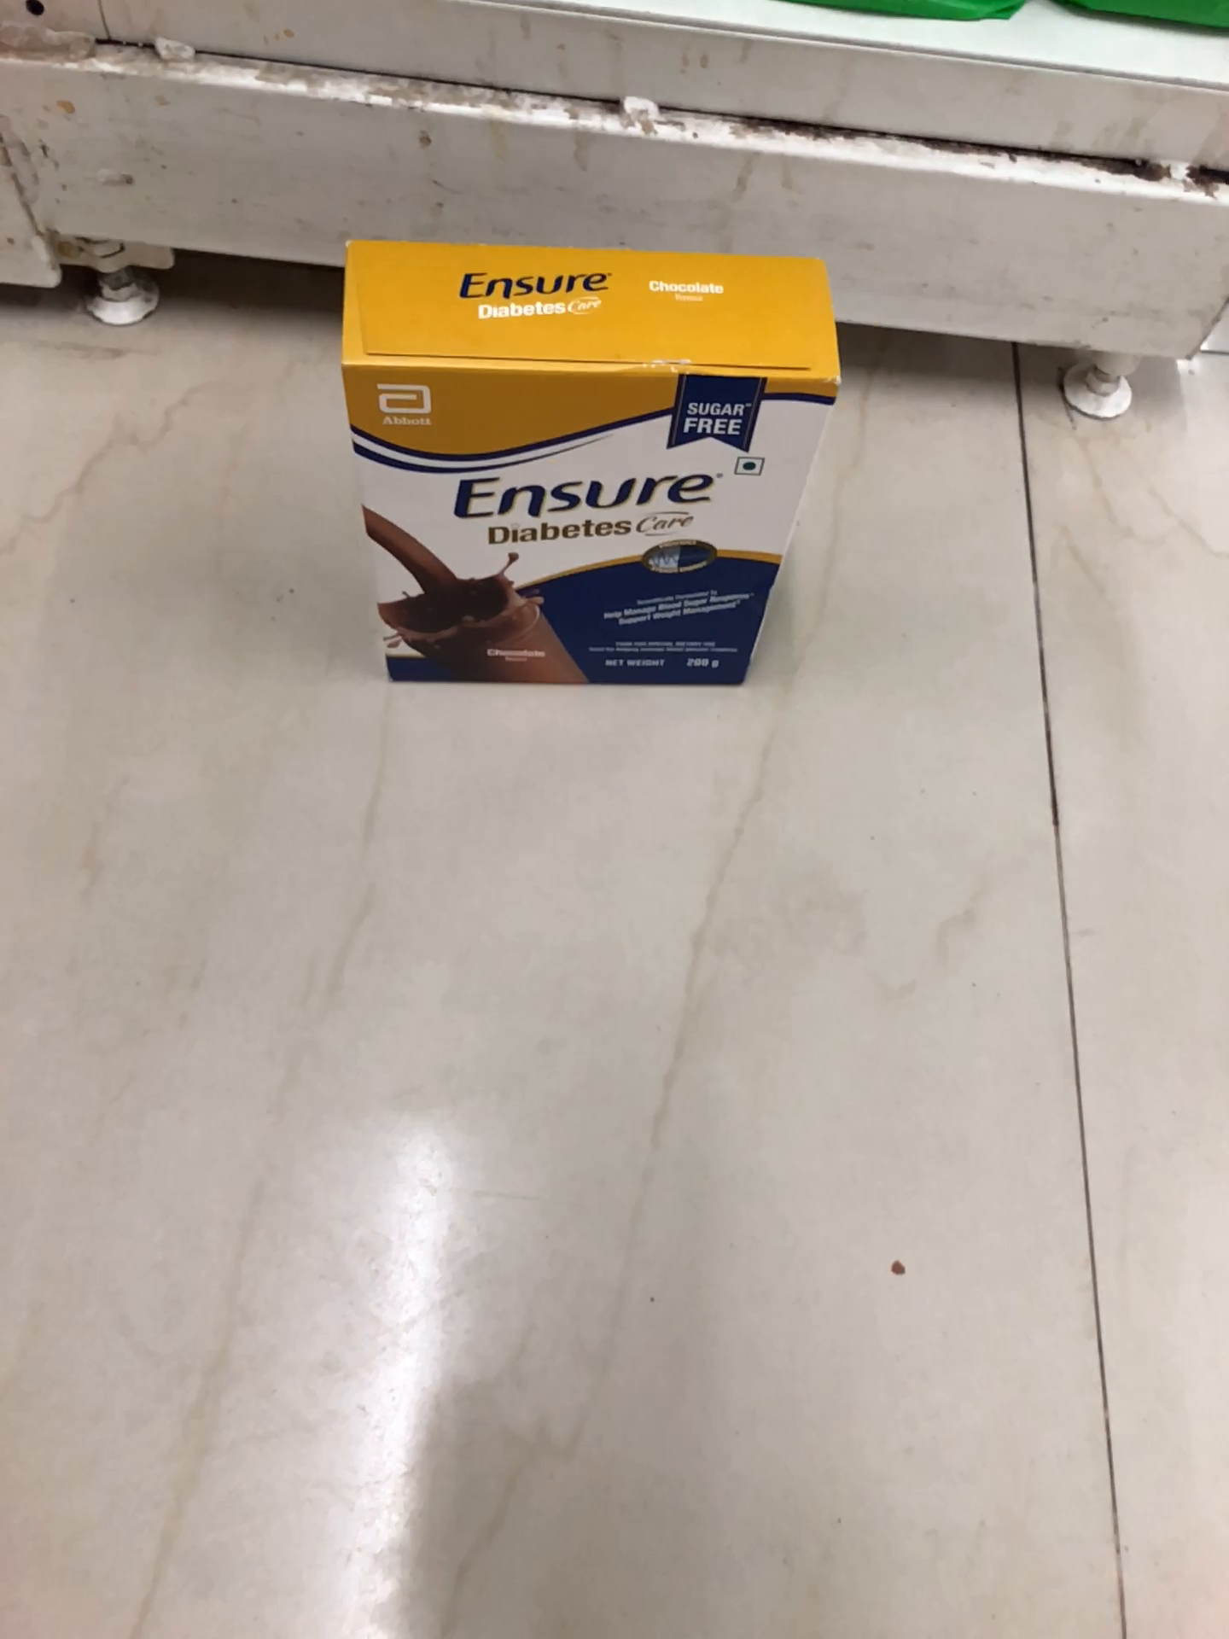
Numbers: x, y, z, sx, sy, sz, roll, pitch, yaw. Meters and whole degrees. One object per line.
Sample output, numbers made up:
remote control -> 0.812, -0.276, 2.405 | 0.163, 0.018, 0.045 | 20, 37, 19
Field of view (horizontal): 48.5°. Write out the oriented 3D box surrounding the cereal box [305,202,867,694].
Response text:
cereal box -> -0.013, -0.103, 0.427 | 0.140, 0.169, 0.050 | 1, 67, -4
